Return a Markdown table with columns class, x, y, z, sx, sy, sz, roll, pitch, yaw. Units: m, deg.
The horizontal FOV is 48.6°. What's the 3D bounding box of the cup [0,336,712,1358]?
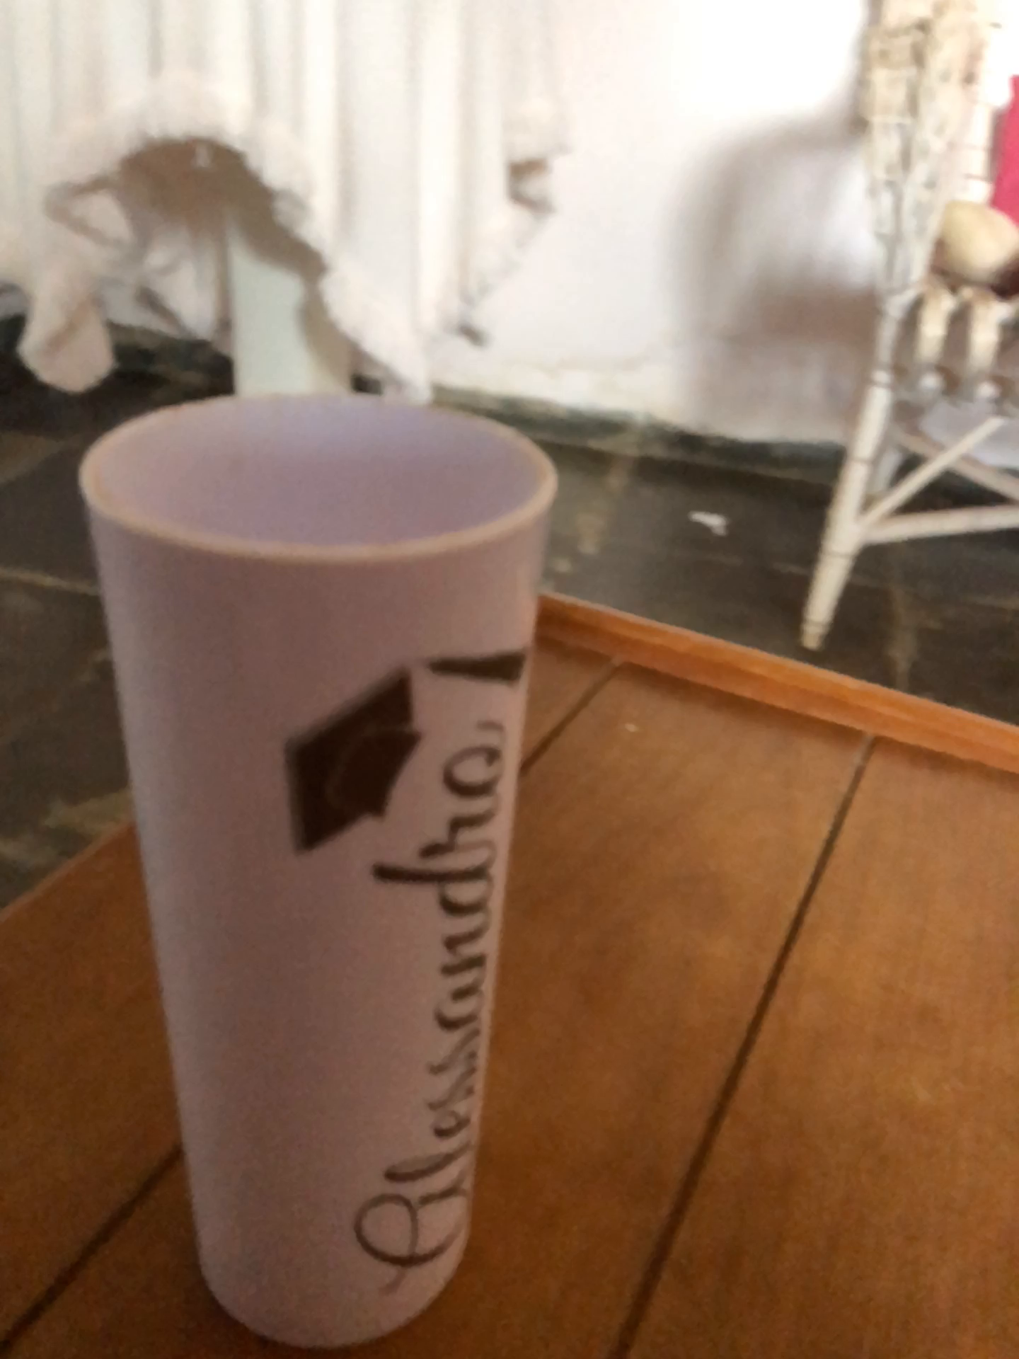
| class | x | y | z | sx | sy | sz | roll | pitch | yaw |
| --- | --- | --- | --- | --- | --- | --- | --- | --- | --- |
| cup | -0.028 | 0.039 | 0.177 | 0.070 | 0.159 | 0.070 | 3 | 30 | -2 |
